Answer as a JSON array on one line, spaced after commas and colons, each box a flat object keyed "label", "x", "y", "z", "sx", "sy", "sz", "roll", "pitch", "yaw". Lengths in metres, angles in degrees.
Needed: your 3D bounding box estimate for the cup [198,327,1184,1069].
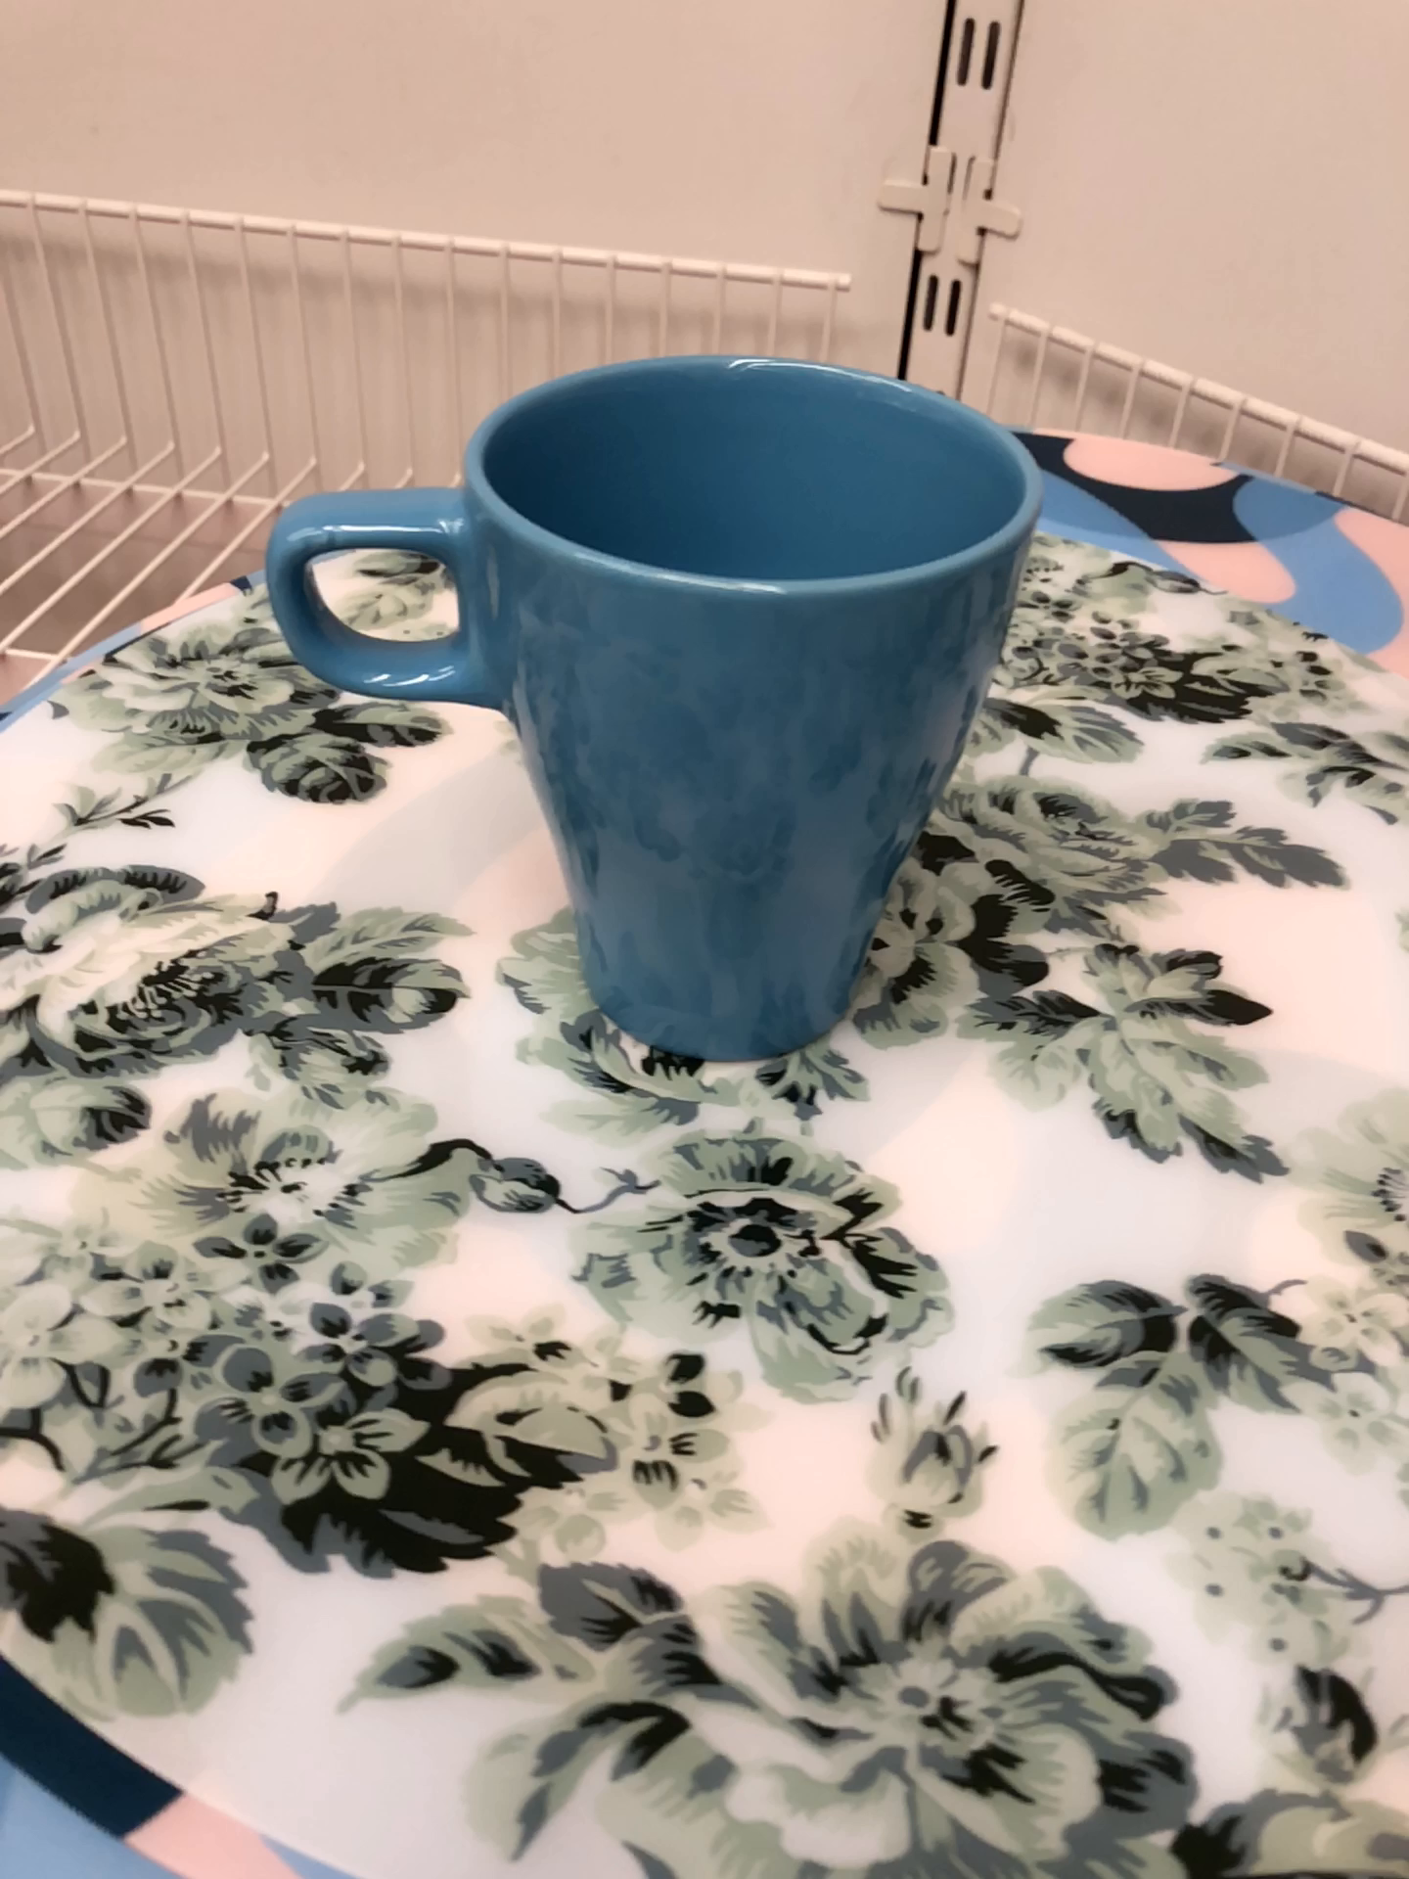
[{"label": "cup", "x": -0.007, "y": -0.041, "z": 0.249, "sx": 0.120, "sy": 0.080, "sz": 0.090, "roll": -1, "pitch": 36, "yaw": -8}]
